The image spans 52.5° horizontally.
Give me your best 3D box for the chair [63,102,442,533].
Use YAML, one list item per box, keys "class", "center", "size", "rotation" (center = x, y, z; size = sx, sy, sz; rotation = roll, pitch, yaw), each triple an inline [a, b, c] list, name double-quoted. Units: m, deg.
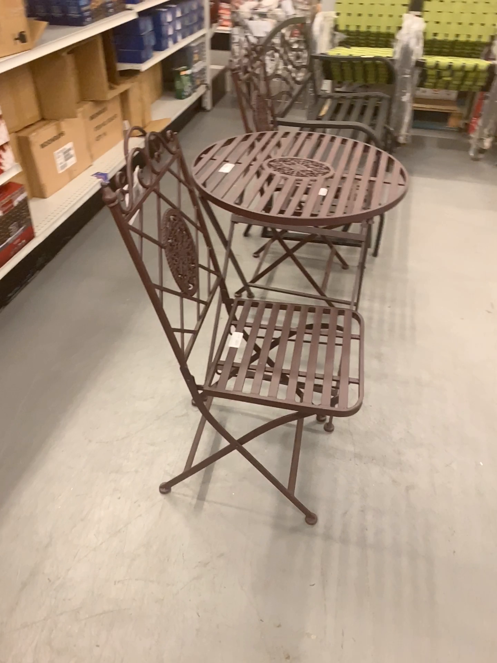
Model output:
- class: "chair"
  center: [0.022, -0.003, 1.164]
  size: [0.563, 0.839, 0.424]
  rotation: [8, 40, 8]
